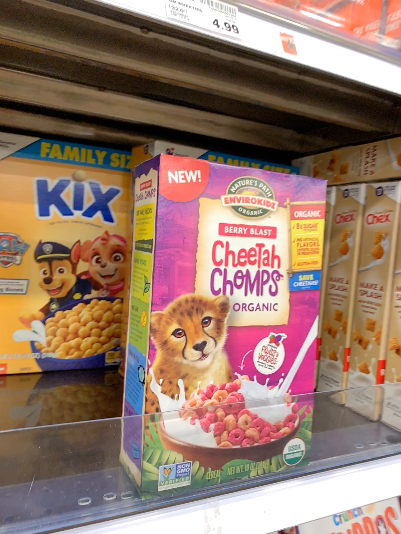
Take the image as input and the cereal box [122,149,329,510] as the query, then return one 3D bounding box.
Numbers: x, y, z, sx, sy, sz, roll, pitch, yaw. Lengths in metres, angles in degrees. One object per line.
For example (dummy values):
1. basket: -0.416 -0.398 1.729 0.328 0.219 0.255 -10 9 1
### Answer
1. cereal box: 0.023 0.049 0.371 0.160 0.270 0.060 3 1 -25
